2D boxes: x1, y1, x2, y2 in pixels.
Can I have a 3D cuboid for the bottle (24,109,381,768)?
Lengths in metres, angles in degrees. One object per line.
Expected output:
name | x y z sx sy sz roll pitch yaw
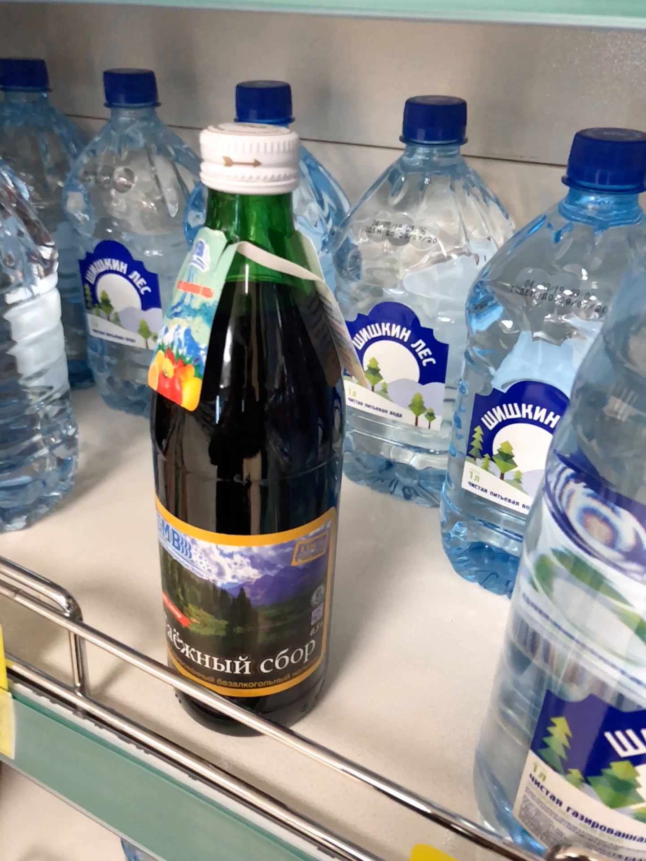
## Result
bottle | -0.033 0.009 0.258 0.075 0.219 0.068 16 34 25
